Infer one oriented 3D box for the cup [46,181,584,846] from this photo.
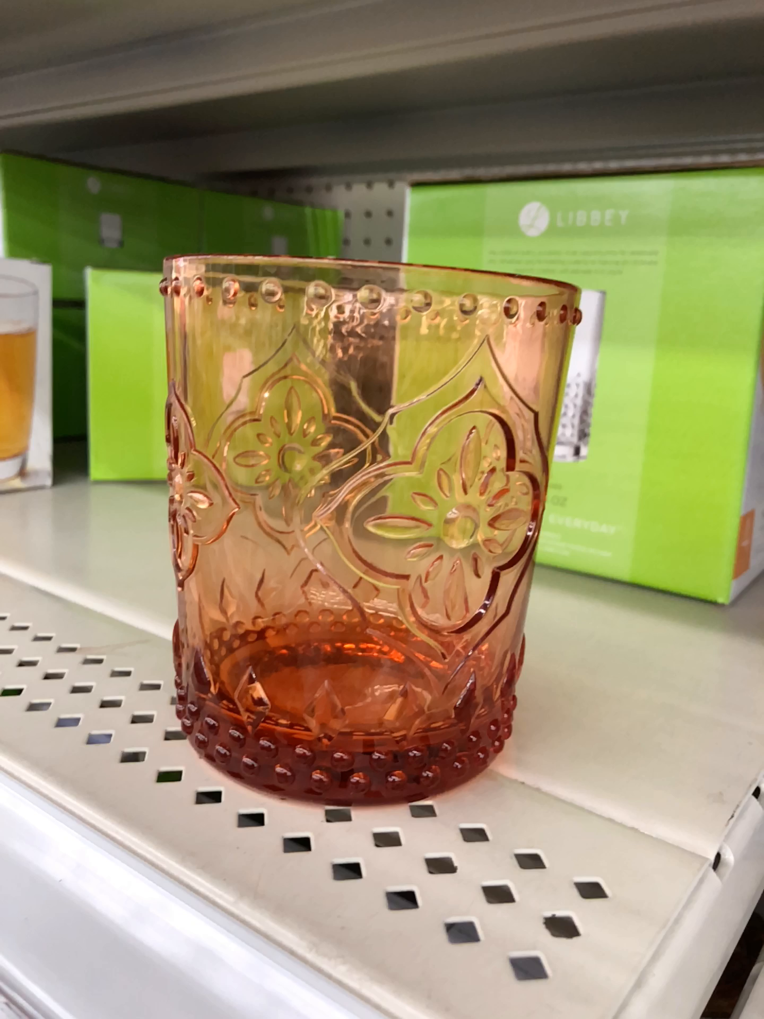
[{"bbox_3d":[-0.009,-0.007,0.190,0.090,0.110,0.080,6,12,14],"label":"cup"}]
